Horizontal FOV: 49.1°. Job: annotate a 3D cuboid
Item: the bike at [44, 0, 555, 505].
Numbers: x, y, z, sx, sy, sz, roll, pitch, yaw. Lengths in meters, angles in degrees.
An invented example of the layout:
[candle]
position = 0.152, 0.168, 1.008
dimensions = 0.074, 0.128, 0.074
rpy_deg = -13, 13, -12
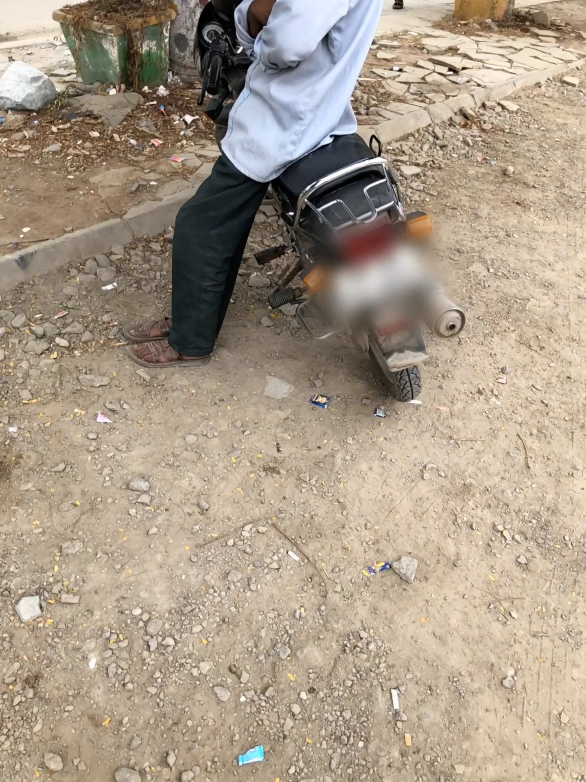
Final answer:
[bike]
position = -0.194, -0.722, 1.968
dimensions = 0.740, 1.170, 1.601
rpy_deg = -11, 43, -18
